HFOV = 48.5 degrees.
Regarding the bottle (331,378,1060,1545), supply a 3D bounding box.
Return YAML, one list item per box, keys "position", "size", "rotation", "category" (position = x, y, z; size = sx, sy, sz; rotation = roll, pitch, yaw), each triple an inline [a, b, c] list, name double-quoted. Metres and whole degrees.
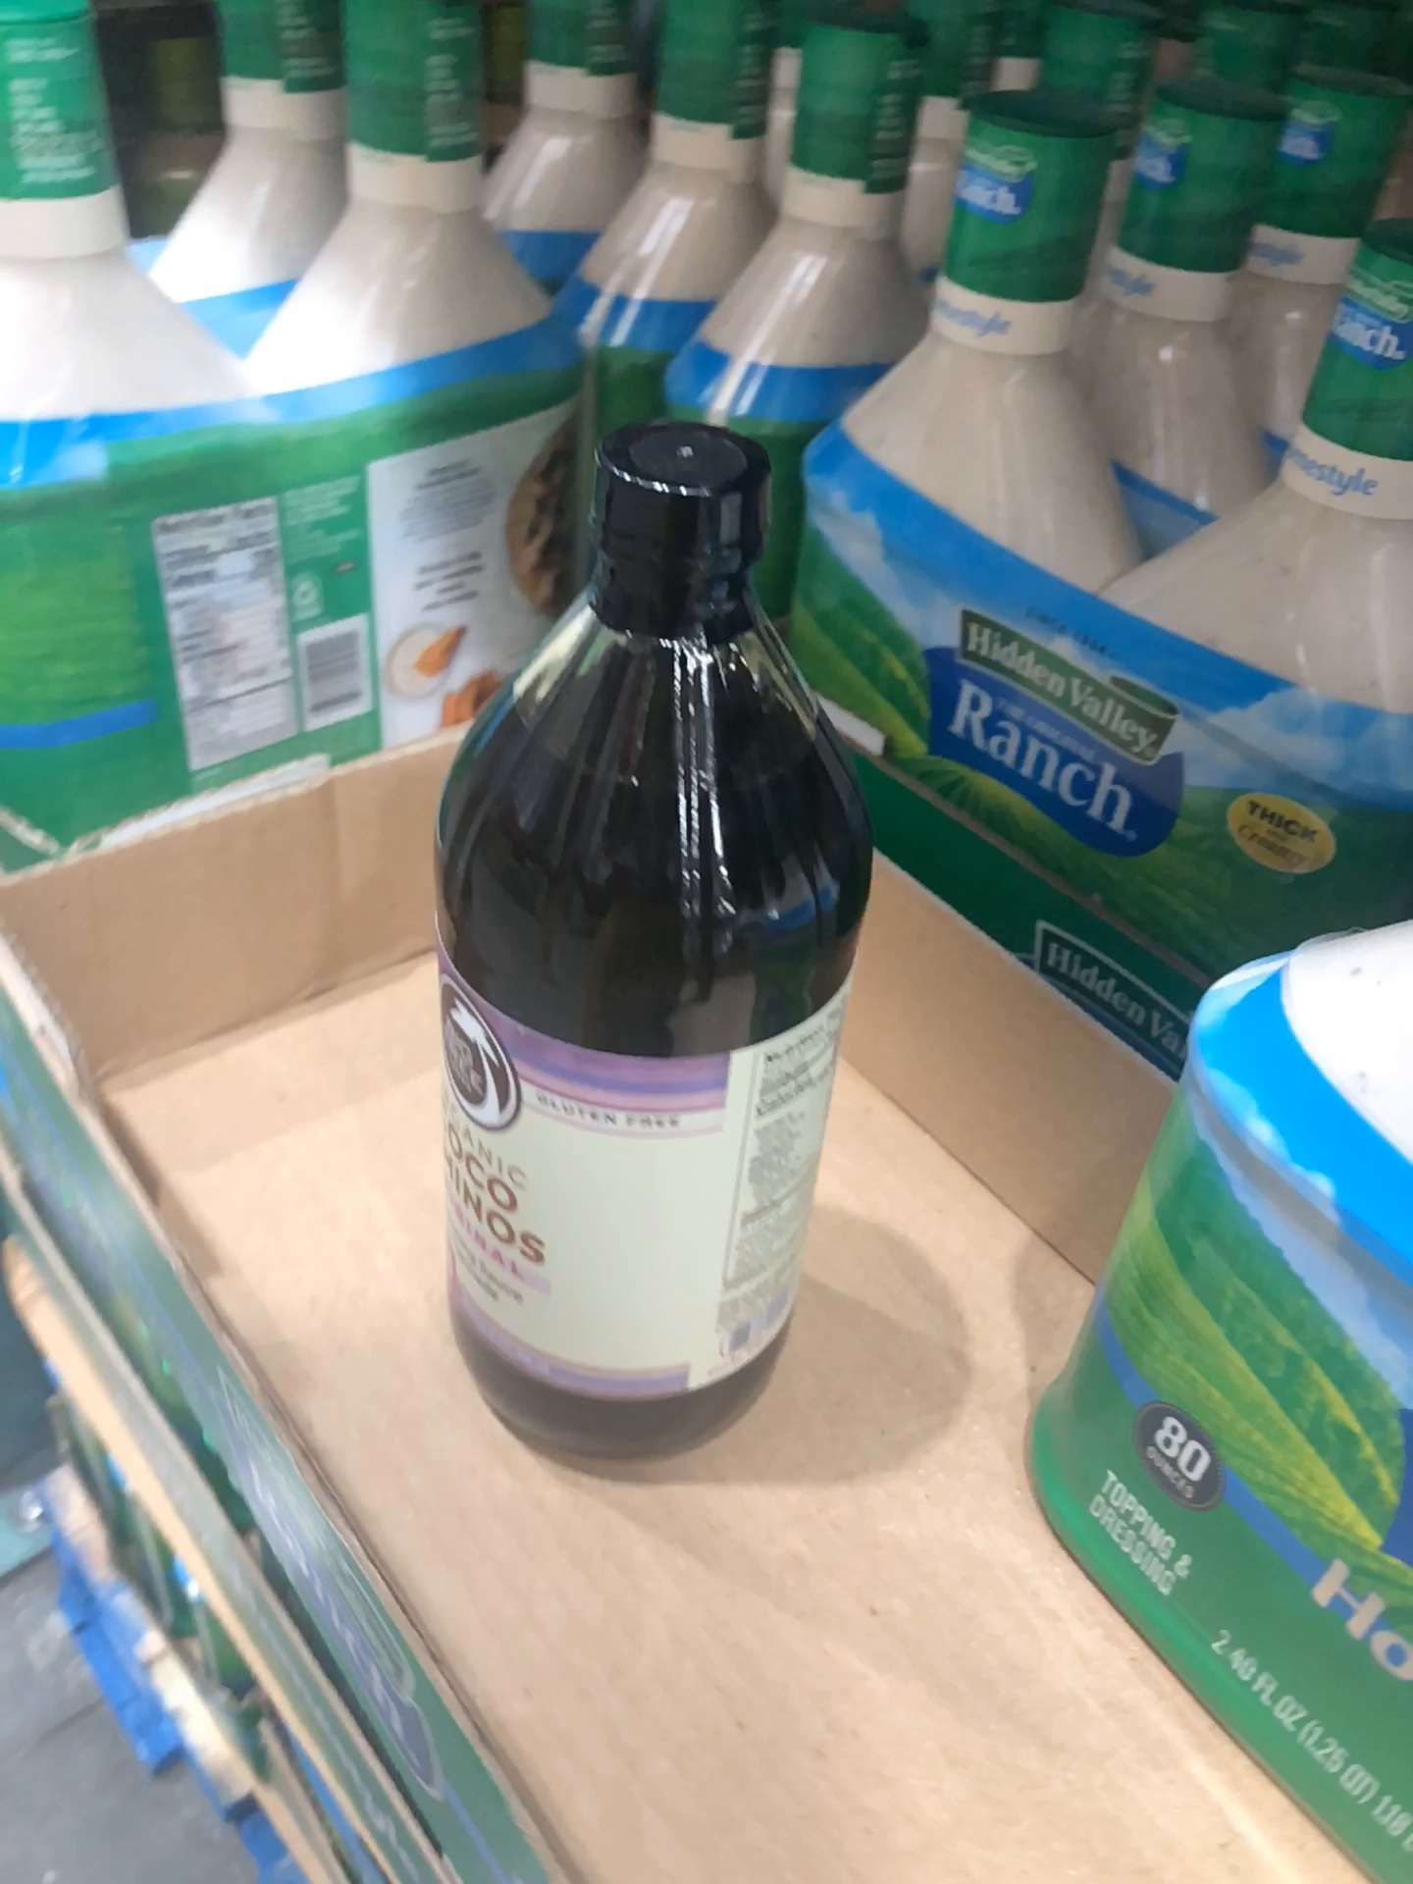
- position: [-0.016, 0.012, 0.346]
  size: [0.090, 0.229, 0.100]
  rotation: [-16, 45, -26]
  category: "bottle"
